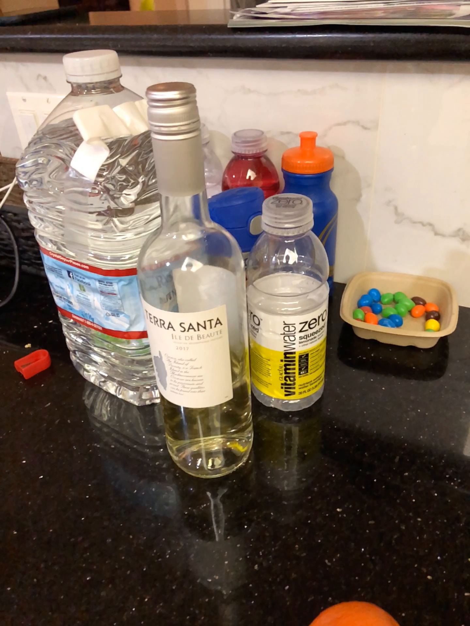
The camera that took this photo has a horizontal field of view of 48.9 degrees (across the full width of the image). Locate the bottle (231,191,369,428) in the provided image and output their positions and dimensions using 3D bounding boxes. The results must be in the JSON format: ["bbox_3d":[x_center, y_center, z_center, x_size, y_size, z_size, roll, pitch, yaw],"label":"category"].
[{"bbox_3d":[0.048,-0.001,0.407,0.070,0.159,0.070,-2,34,2],"label":"bottle"}]

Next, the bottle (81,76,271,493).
[{"bbox_3d":[-0.024,-0.005,0.345,0.070,0.268,0.070,-2,34,2],"label":"bottle"}]

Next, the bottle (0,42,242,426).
[{"bbox_3d":[-0.091,-0.069,0.451,0.130,0.278,0.141,-2,34,2],"label":"bottle"}]
